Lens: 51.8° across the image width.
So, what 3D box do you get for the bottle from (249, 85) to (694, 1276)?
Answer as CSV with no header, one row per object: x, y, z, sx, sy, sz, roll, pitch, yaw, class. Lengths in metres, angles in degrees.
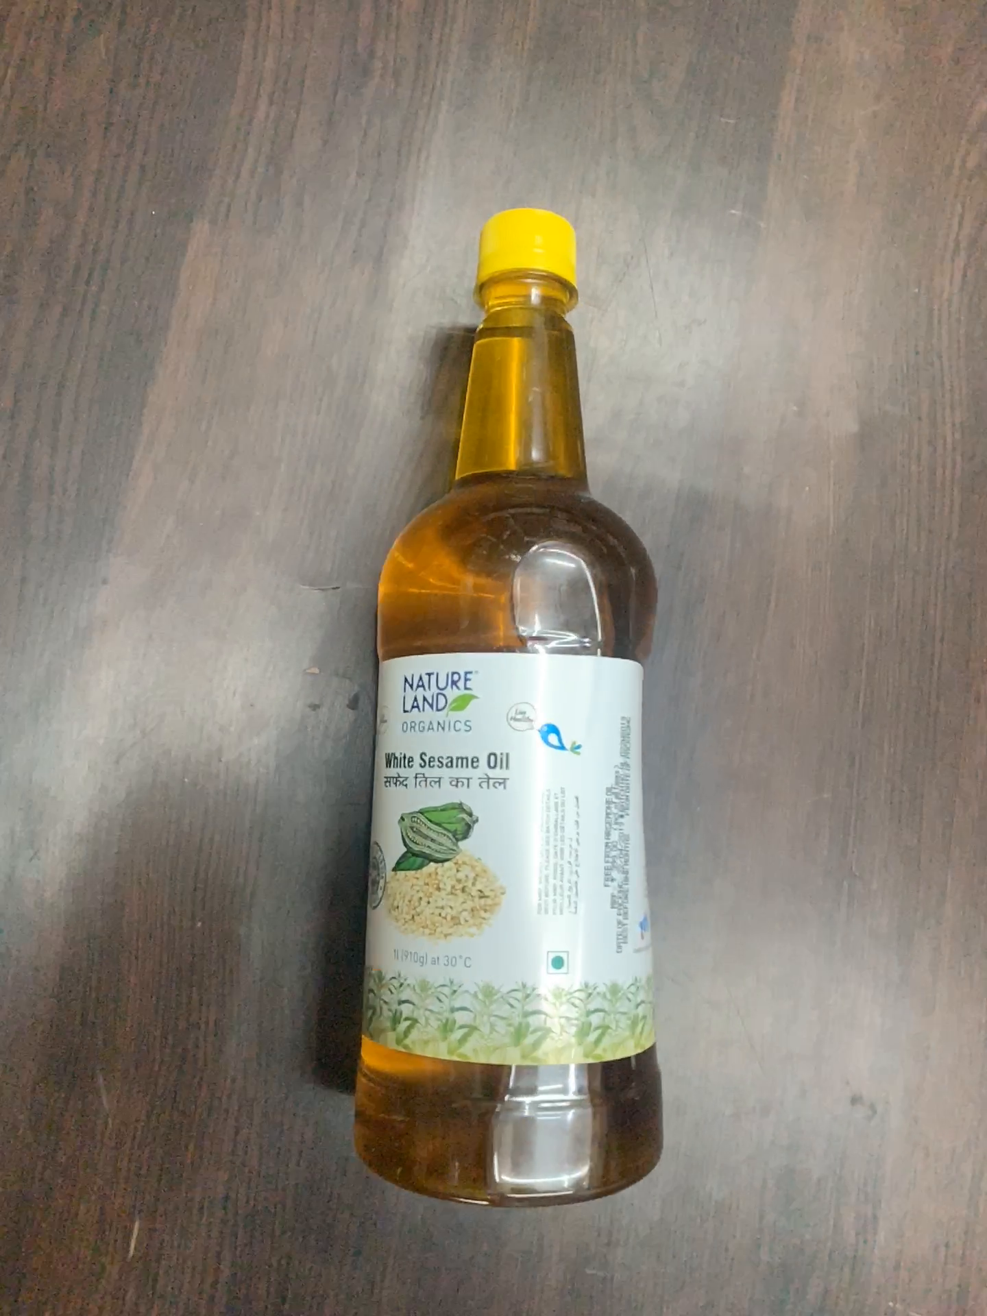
0.001,0.002,0.287,0.080,0.090,0.270,-4,79,33,bottle
